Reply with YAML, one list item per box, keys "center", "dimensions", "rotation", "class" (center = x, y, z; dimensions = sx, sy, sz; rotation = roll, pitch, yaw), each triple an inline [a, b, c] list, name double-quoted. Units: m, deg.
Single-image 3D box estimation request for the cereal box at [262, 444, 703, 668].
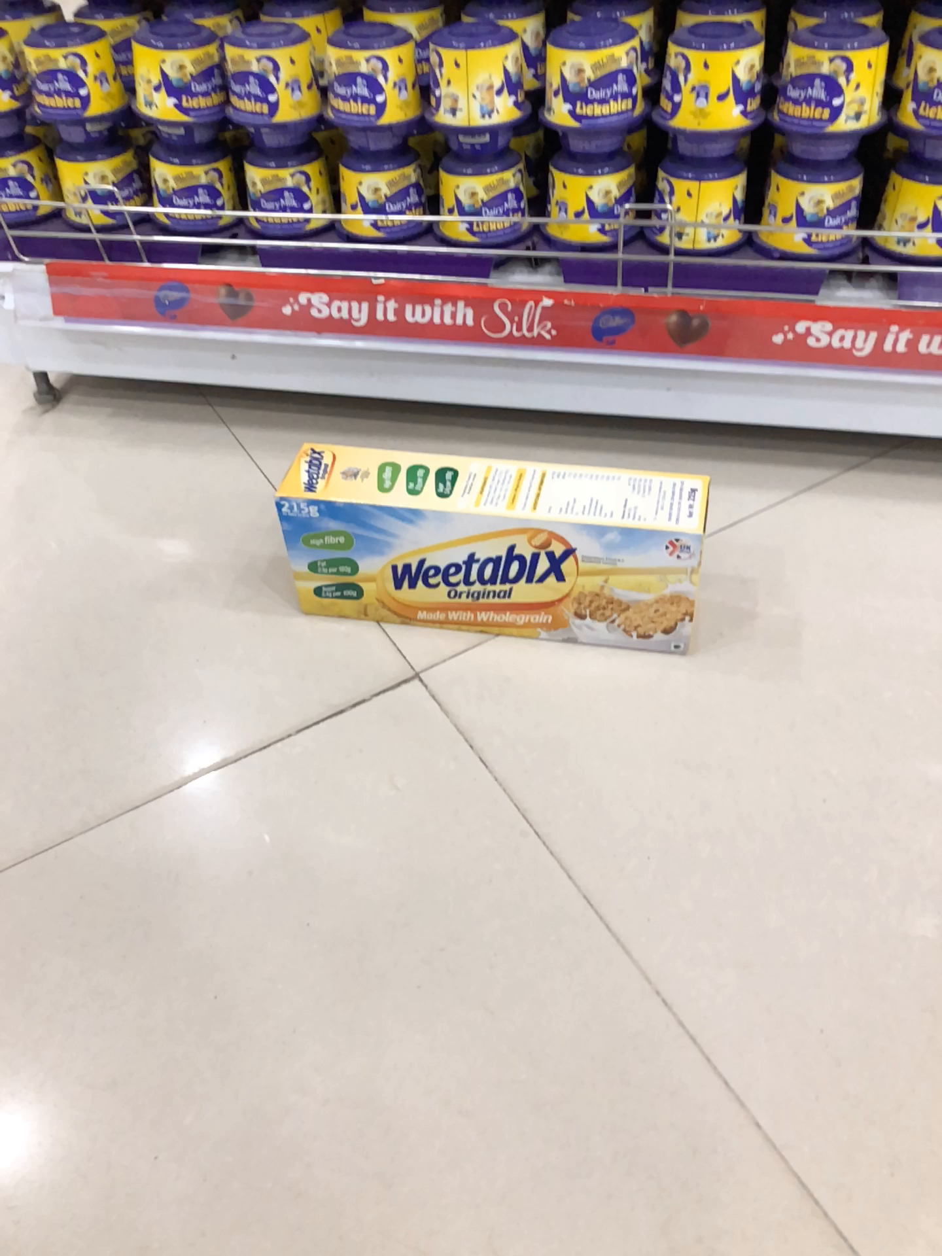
- center: [0.009, -0.045, 0.637]
  dimensions: [0.250, 0.099, 0.060]
  rotation: [6, 45, 11]
  class: "cereal box"
